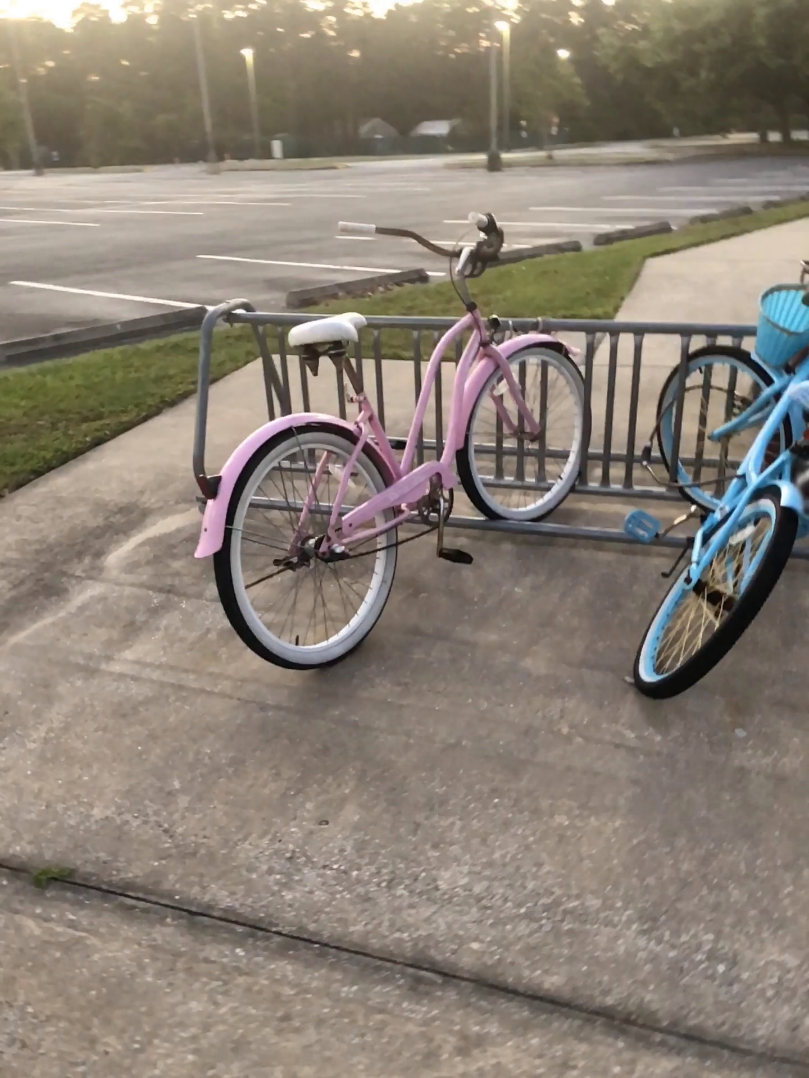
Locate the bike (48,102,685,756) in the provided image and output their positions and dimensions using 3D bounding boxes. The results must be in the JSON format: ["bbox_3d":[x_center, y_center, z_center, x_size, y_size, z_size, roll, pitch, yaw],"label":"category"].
[{"bbox_3d":[0.018,-0.495,2.612,0.840,1.116,1.658,16,36,37],"label":"bike"}]
